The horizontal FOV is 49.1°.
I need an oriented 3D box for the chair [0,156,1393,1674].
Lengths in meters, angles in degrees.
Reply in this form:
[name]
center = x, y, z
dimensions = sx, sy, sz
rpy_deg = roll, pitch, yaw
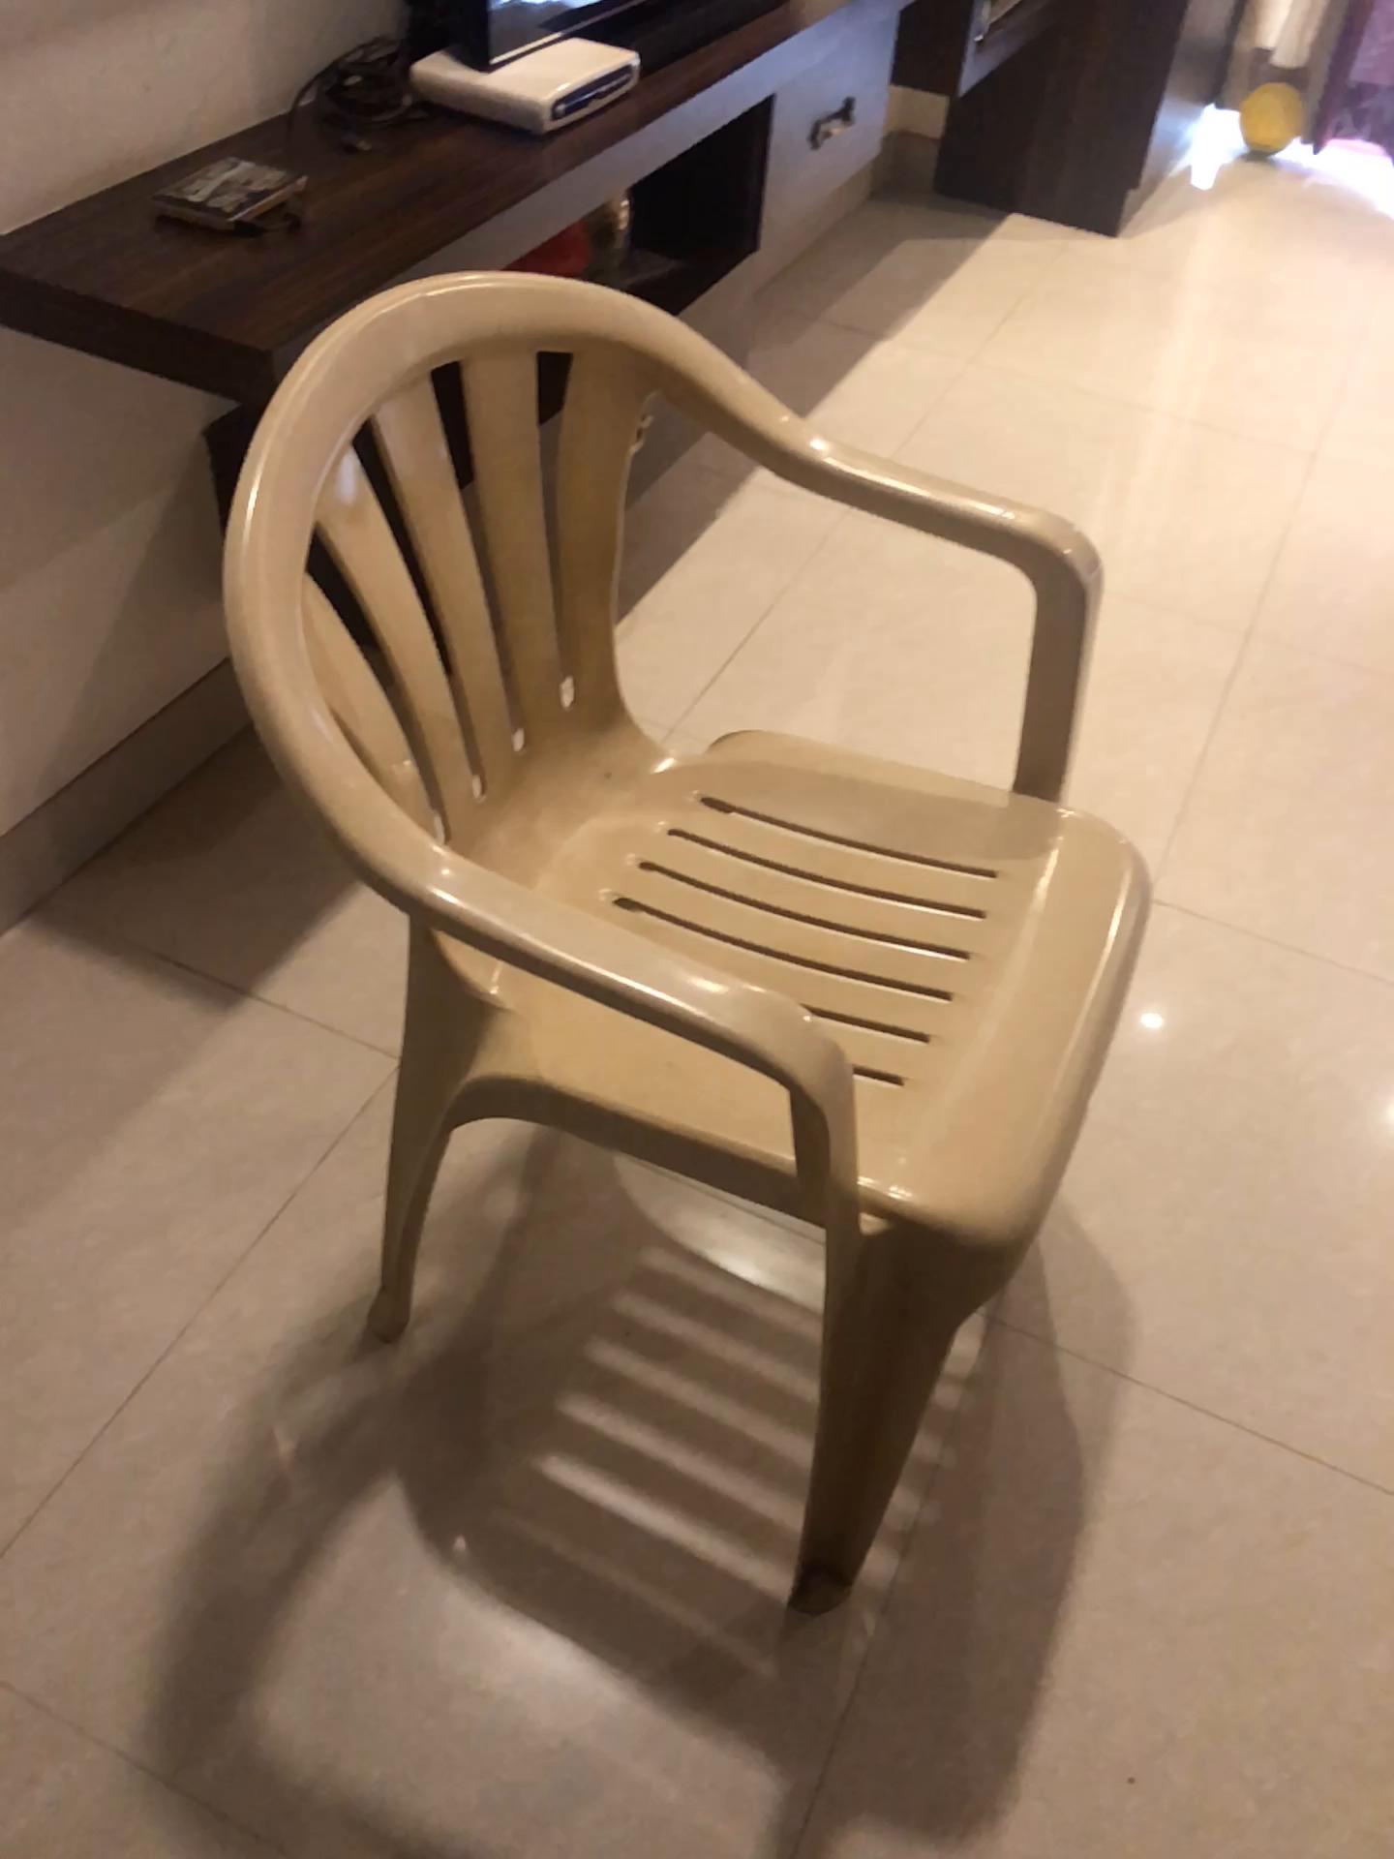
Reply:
[chair]
center = 0.026, -0.005, 1.109
dimensions = 0.590, 0.775, 0.574
rpy_deg = 20, 46, 13
